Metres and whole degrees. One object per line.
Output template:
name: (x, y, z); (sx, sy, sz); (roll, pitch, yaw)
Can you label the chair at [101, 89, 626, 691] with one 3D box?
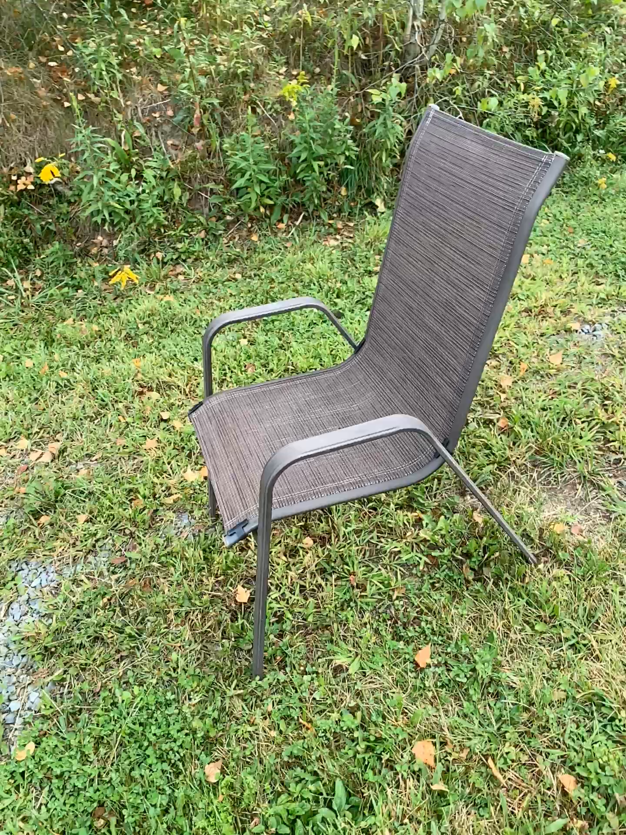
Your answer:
chair: (0.081, -0.097, 1.289); (0.740, 0.875, 0.624); (-14, 36, -15)
